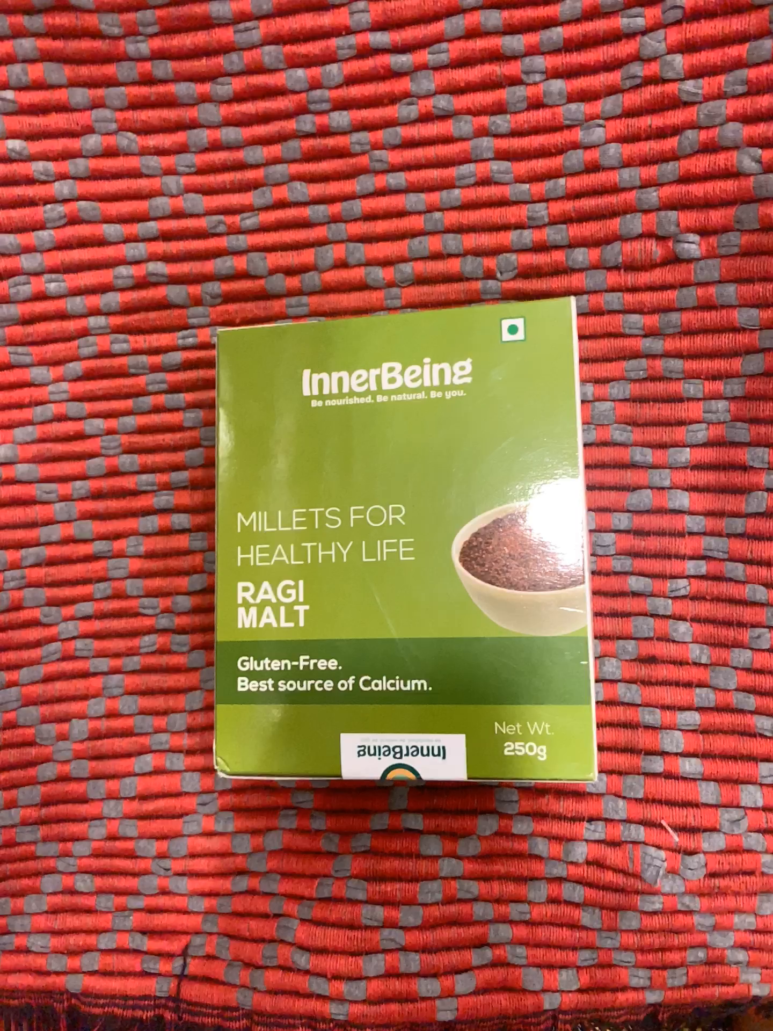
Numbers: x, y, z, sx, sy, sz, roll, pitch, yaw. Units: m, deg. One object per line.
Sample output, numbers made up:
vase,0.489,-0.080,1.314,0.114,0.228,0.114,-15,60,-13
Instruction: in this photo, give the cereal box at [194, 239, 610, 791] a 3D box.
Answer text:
cereal box,0.005,0.002,0.281,0.130,0.050,0.170,-2,82,11
